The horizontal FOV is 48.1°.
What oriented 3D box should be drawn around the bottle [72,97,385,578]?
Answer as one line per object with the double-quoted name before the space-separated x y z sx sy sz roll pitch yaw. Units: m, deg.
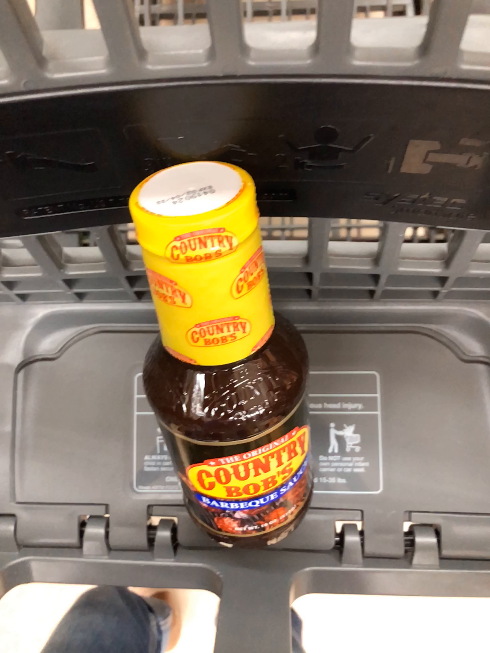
"bottle" -0.003 0.013 0.222 0.080 0.080 0.171 -12 130 -6
